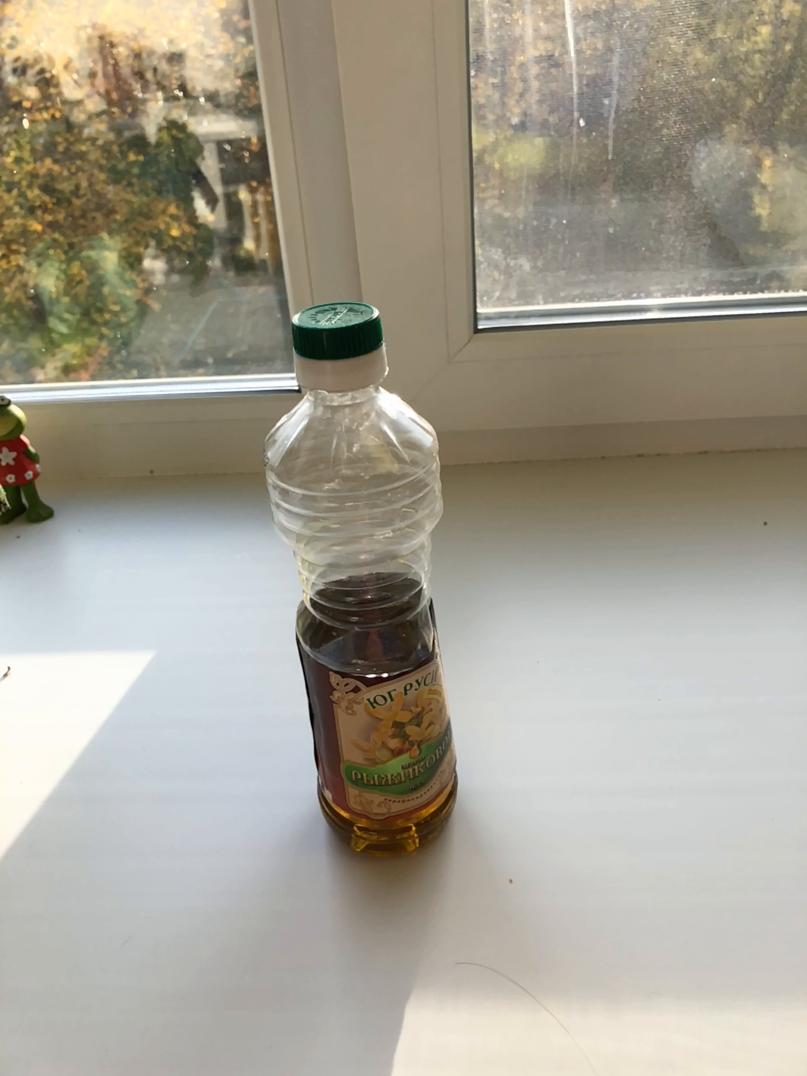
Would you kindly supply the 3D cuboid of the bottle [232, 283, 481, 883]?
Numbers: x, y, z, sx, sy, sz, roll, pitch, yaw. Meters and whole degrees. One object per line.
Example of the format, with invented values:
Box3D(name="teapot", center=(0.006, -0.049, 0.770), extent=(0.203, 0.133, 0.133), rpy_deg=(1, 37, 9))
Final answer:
Box3D(name="bottle", center=(-0.013, 0.024, 0.341), extent=(0.061, 0.218, 0.068), rpy_deg=(-12, 32, -13))
